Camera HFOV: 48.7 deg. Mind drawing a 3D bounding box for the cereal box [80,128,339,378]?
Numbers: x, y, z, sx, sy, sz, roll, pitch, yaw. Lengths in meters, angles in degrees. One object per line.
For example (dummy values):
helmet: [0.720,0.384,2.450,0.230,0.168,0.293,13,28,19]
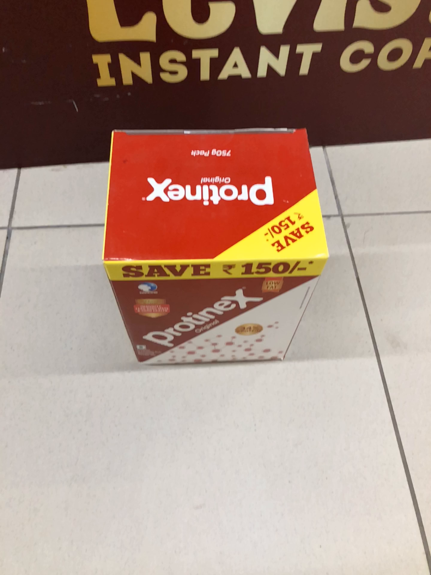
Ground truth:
cereal box: [-0.010,-0.016,0.409,0.160,0.199,0.120,-2,61,-4]
